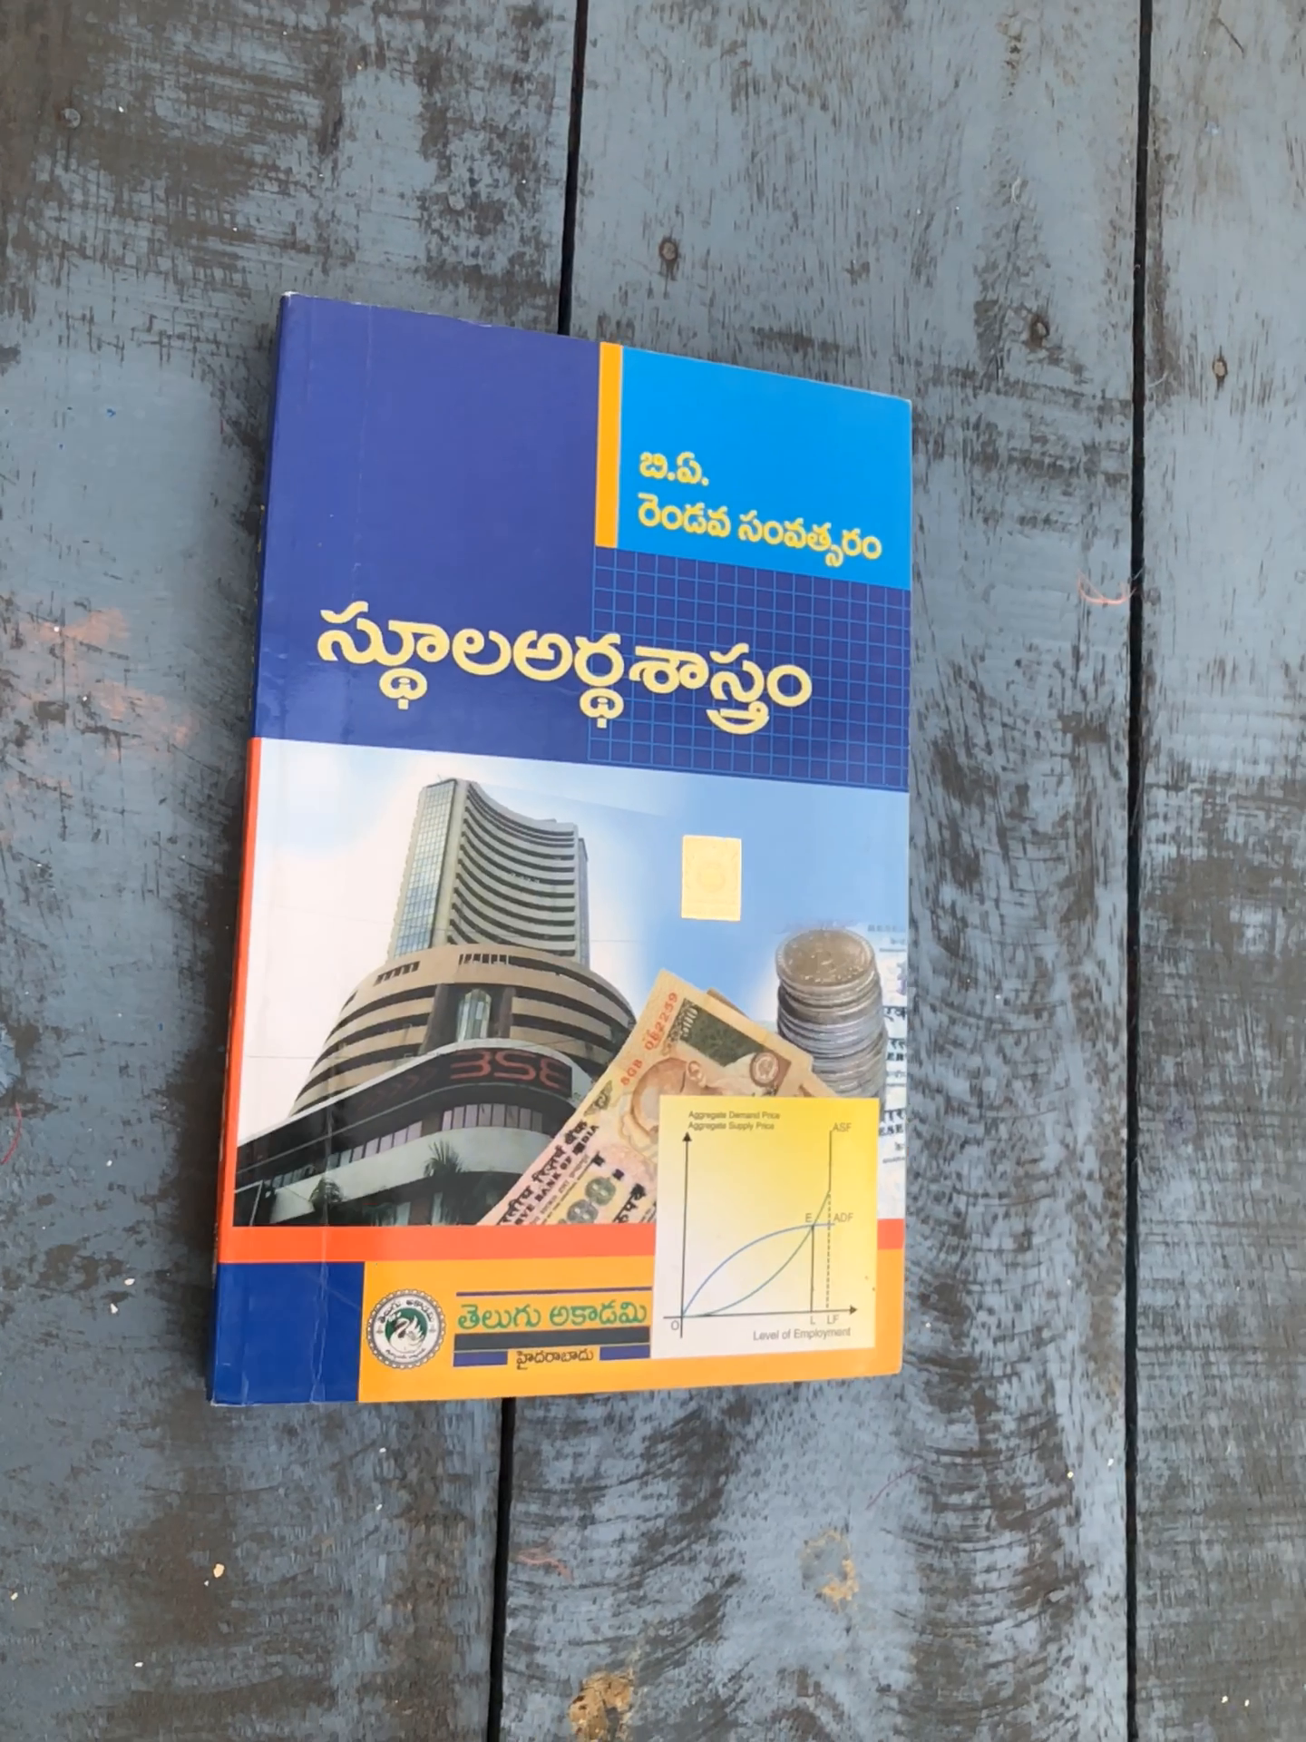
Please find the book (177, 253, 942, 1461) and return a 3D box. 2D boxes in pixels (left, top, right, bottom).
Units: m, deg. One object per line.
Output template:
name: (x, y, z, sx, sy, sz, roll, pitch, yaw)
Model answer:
book: (-0.017, -0.002, 0.341, 0.170, 0.030, 0.250, 3, 87, -19)
